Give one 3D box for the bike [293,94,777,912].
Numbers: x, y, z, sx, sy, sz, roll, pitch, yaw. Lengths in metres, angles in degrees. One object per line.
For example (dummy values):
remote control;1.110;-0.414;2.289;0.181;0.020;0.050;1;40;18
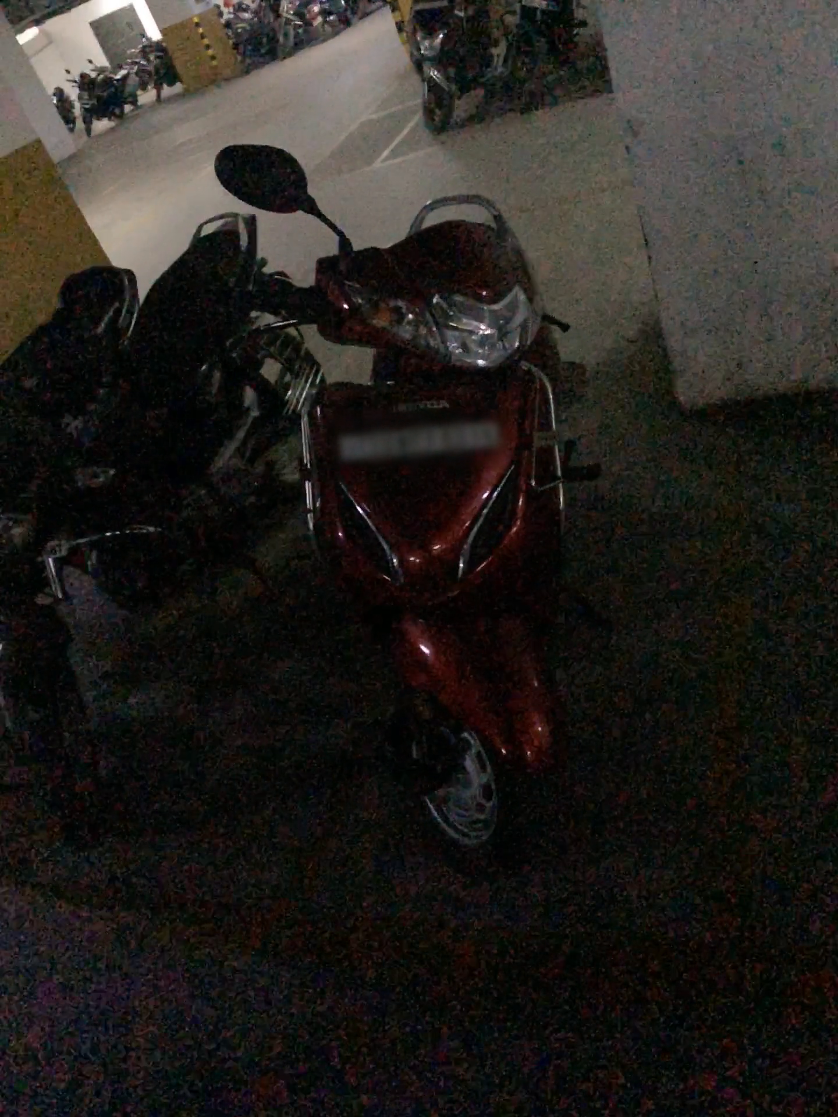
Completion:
bike;0.184;-0.200;1.895;0.487;0.909;1.397;-19;44;8
